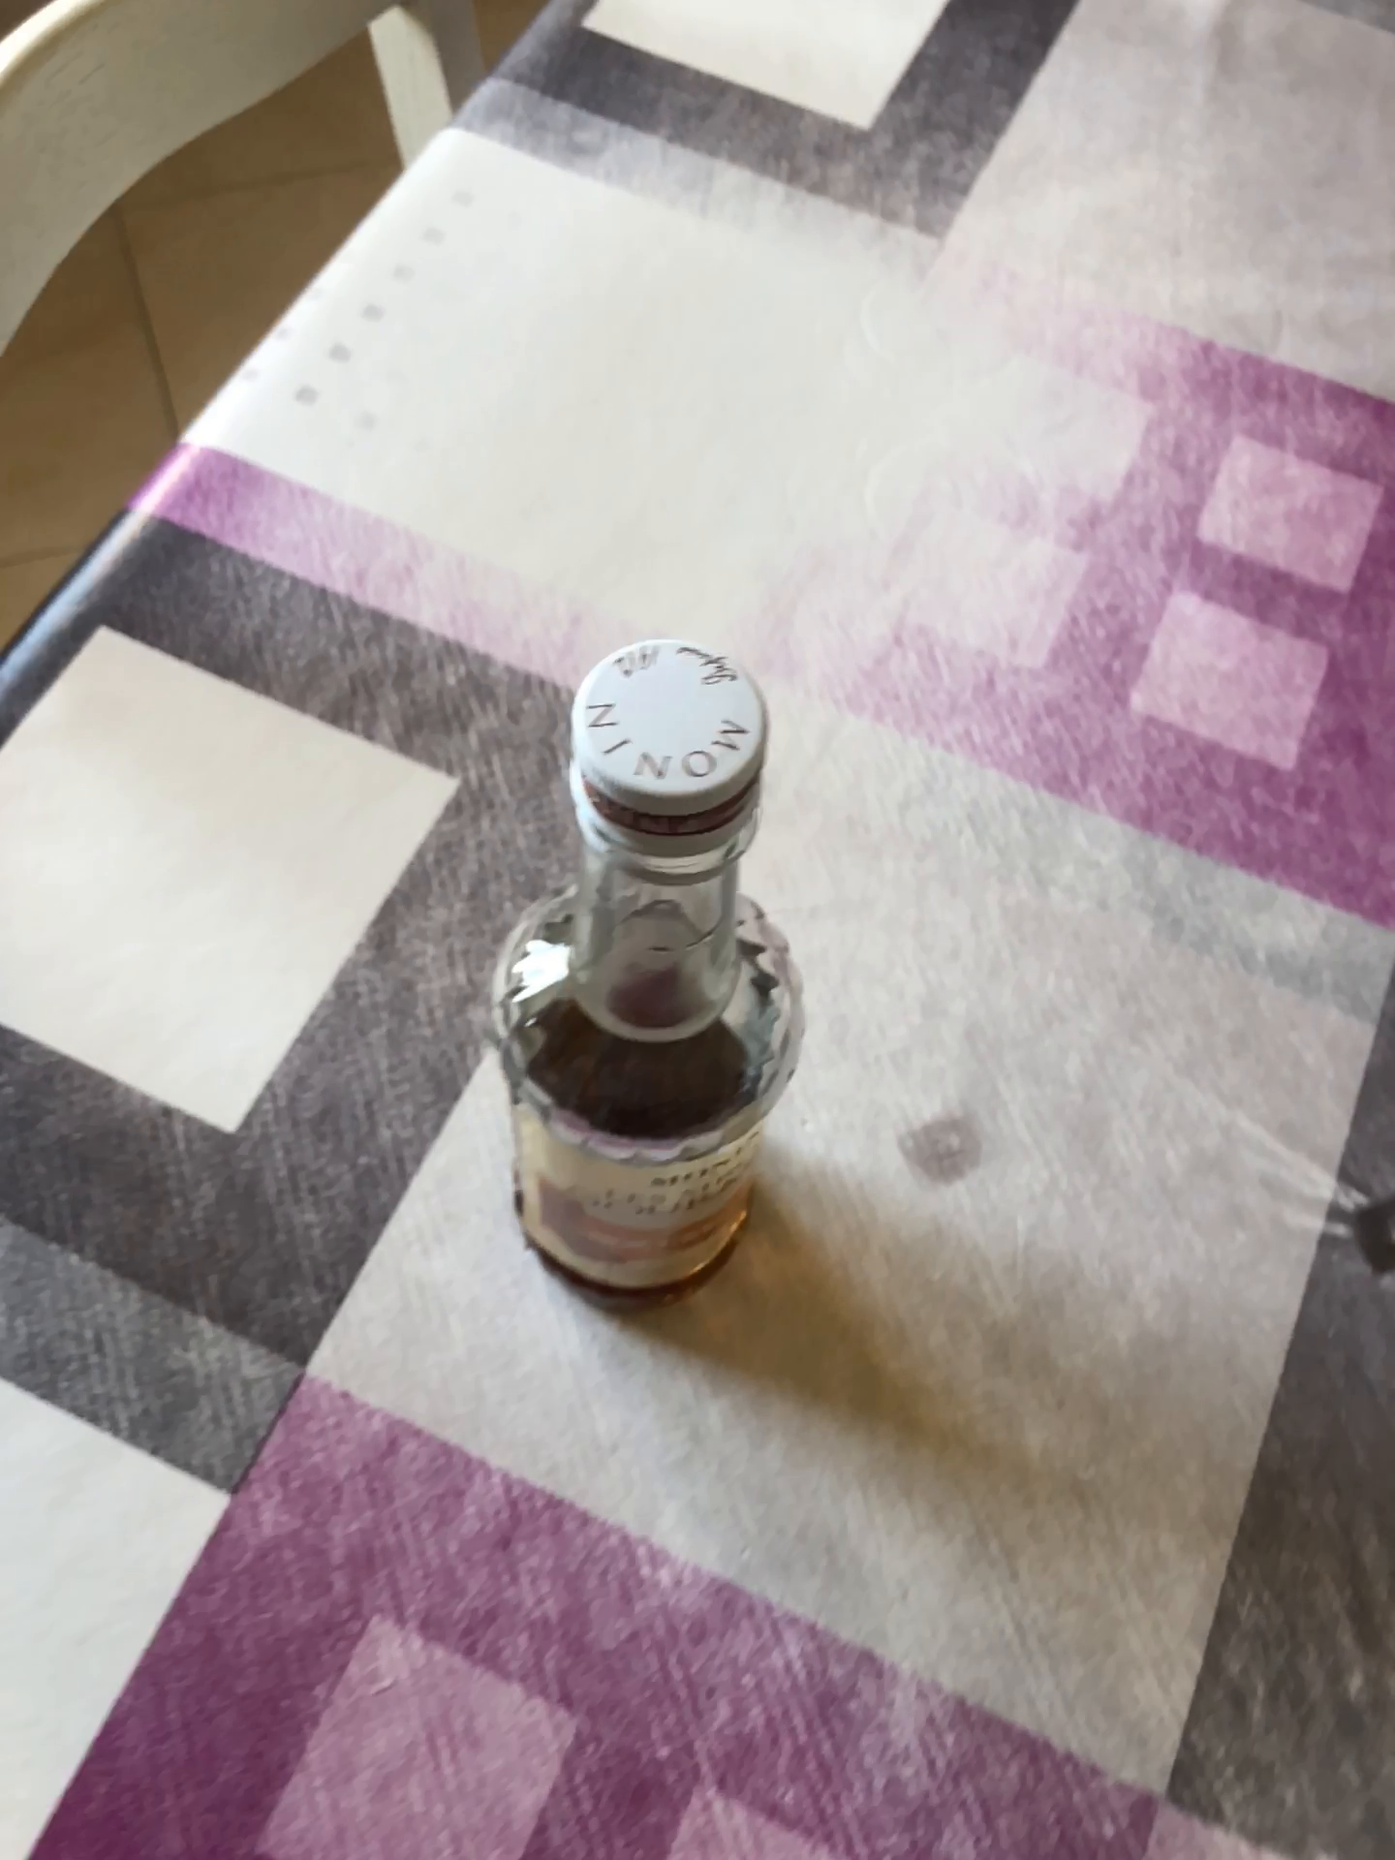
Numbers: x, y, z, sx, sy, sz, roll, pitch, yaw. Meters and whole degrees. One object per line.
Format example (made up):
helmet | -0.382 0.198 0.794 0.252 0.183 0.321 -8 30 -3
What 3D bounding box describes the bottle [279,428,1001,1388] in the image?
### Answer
bottle | -0.013 0.022 0.319 0.070 0.239 0.070 1 63 -2
